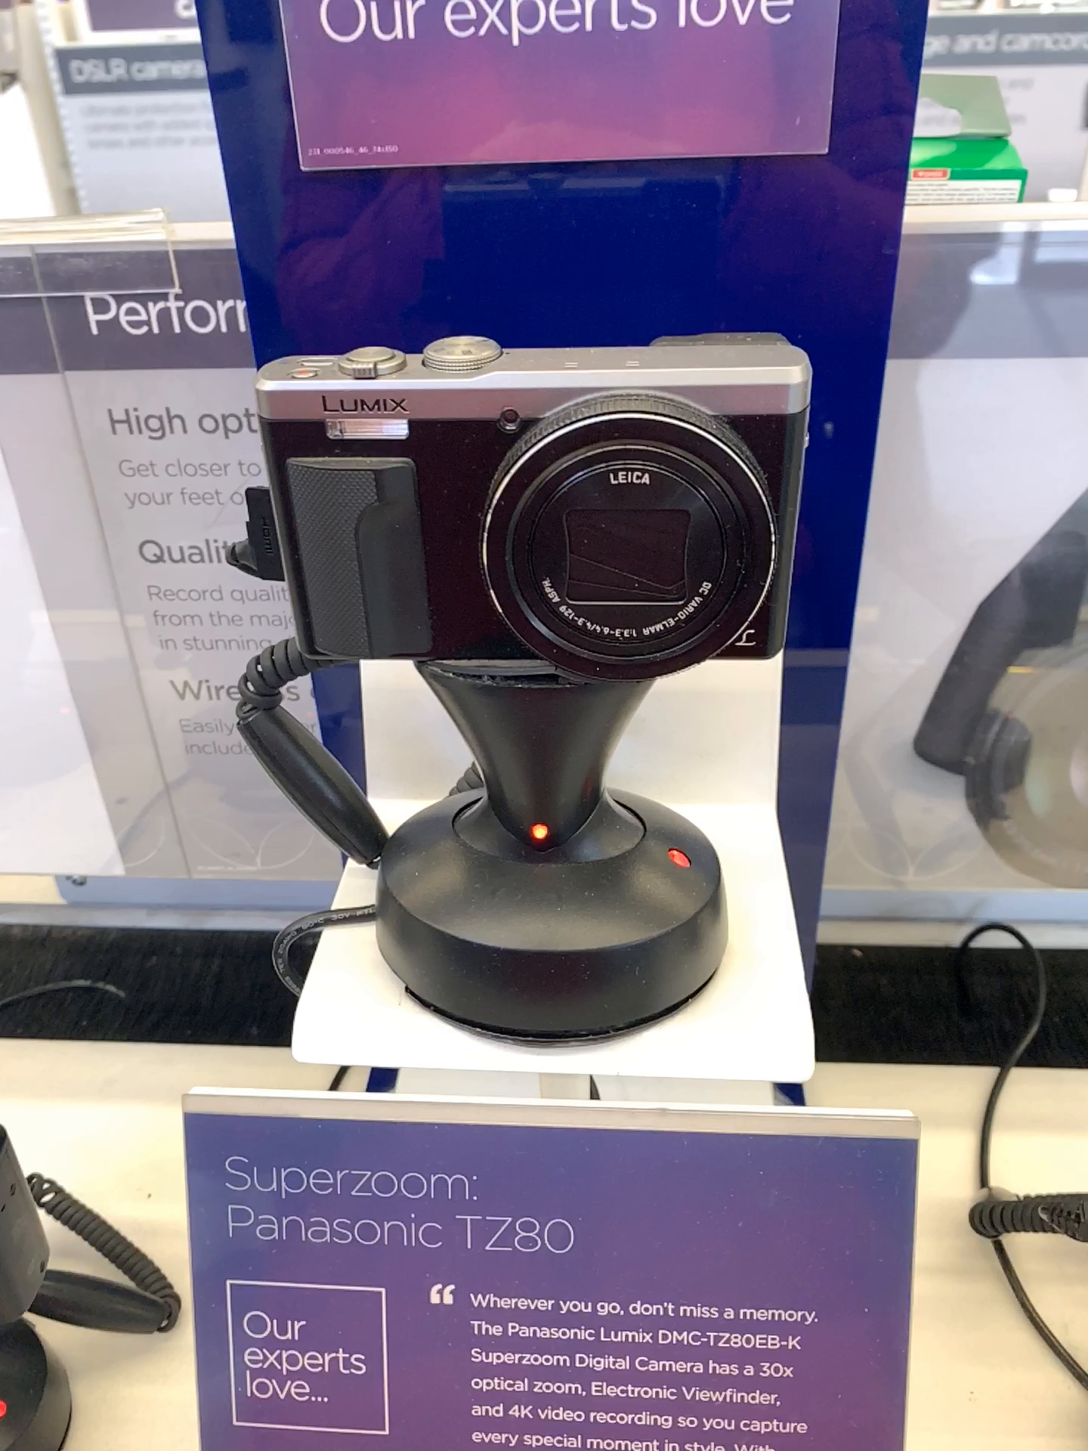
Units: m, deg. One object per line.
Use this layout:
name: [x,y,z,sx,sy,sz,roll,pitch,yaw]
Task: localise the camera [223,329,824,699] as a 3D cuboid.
camera: [-0.003,-0.044,0.237,0.110,0.069,0.030,0,32,2]
